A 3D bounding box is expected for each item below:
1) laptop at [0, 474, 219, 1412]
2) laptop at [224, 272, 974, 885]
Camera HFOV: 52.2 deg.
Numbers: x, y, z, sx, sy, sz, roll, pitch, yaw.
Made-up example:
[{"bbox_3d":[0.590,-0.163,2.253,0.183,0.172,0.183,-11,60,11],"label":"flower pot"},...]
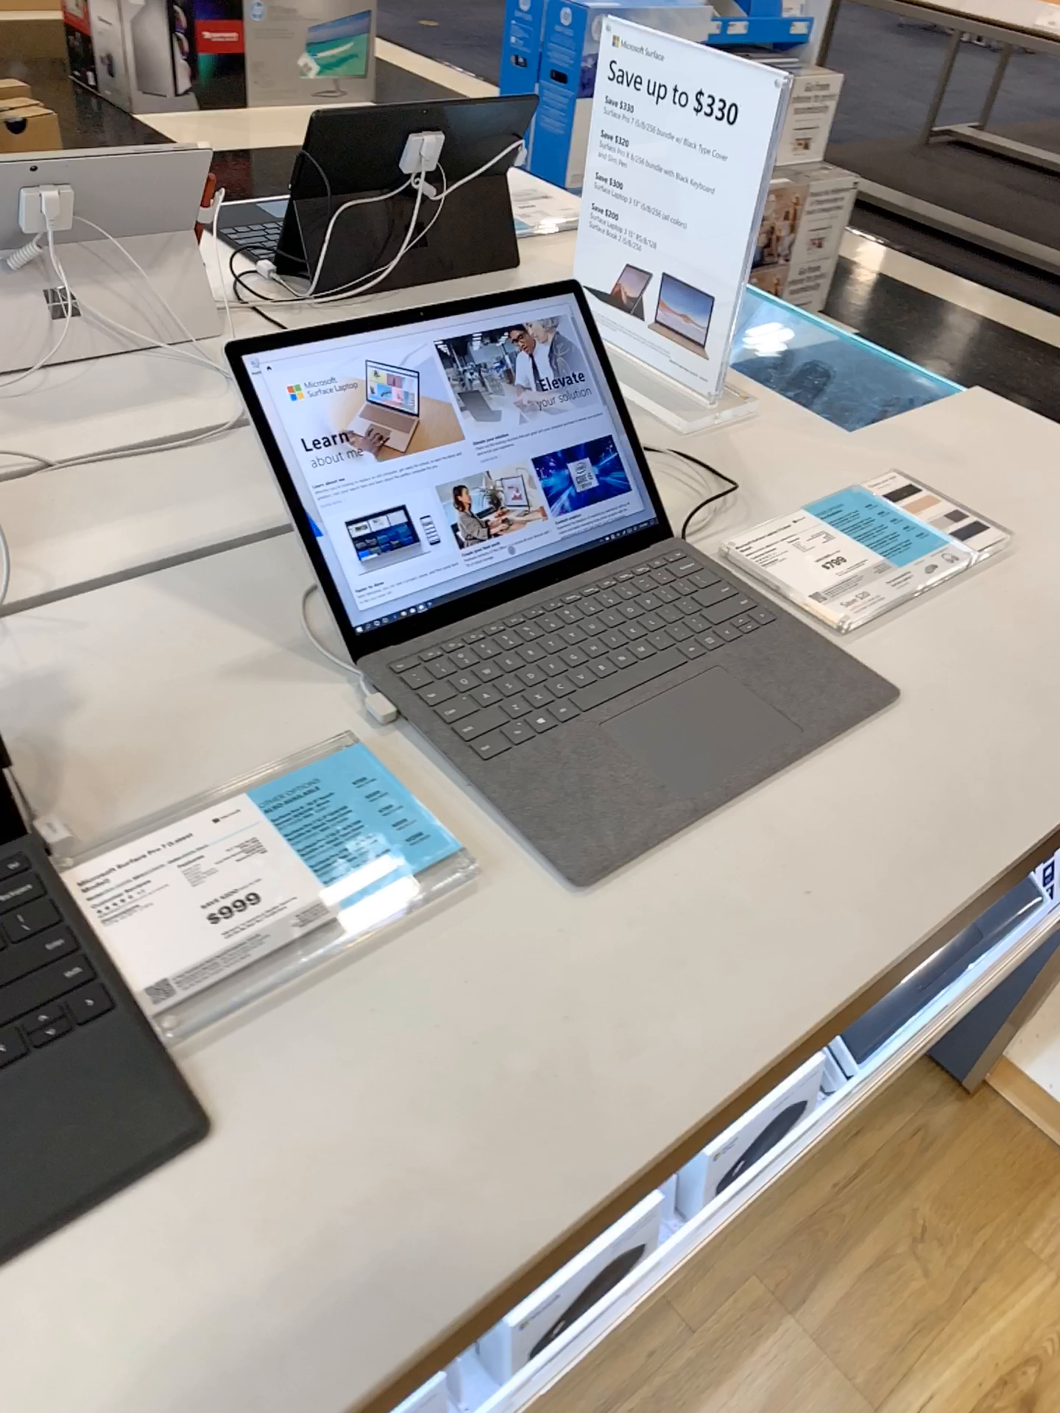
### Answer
[{"bbox_3d":[-0.330,0.085,0.393,0.289,0.157,0.291,-27,53,-35],"label":"laptop"},{"bbox_3d":[0.029,-0.121,0.714,0.297,0.148,0.375,-25,52,-33],"label":"laptop"}]
